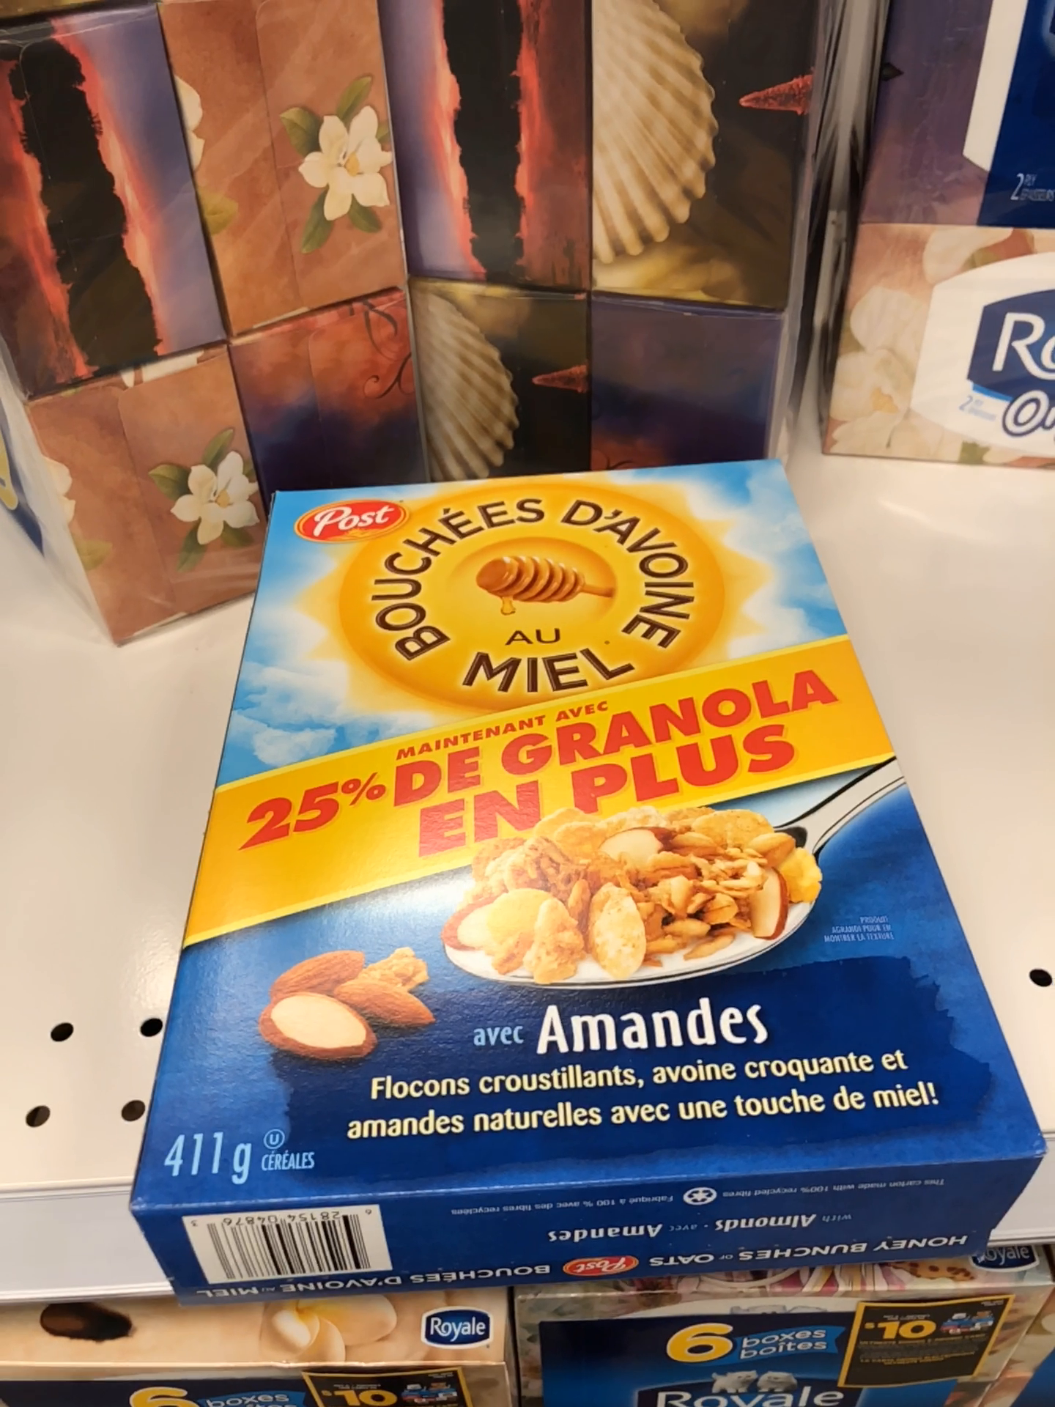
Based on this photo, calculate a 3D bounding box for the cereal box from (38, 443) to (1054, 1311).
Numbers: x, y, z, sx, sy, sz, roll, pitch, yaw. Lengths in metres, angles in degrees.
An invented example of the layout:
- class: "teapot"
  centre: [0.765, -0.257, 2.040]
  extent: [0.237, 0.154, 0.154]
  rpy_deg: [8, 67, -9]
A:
- class: "cereal box"
  centre: [0.004, 0.020, 0.347]
  extent: [0.210, 0.050, 0.271]
  rpy_deg: [-3, 43, -1]
